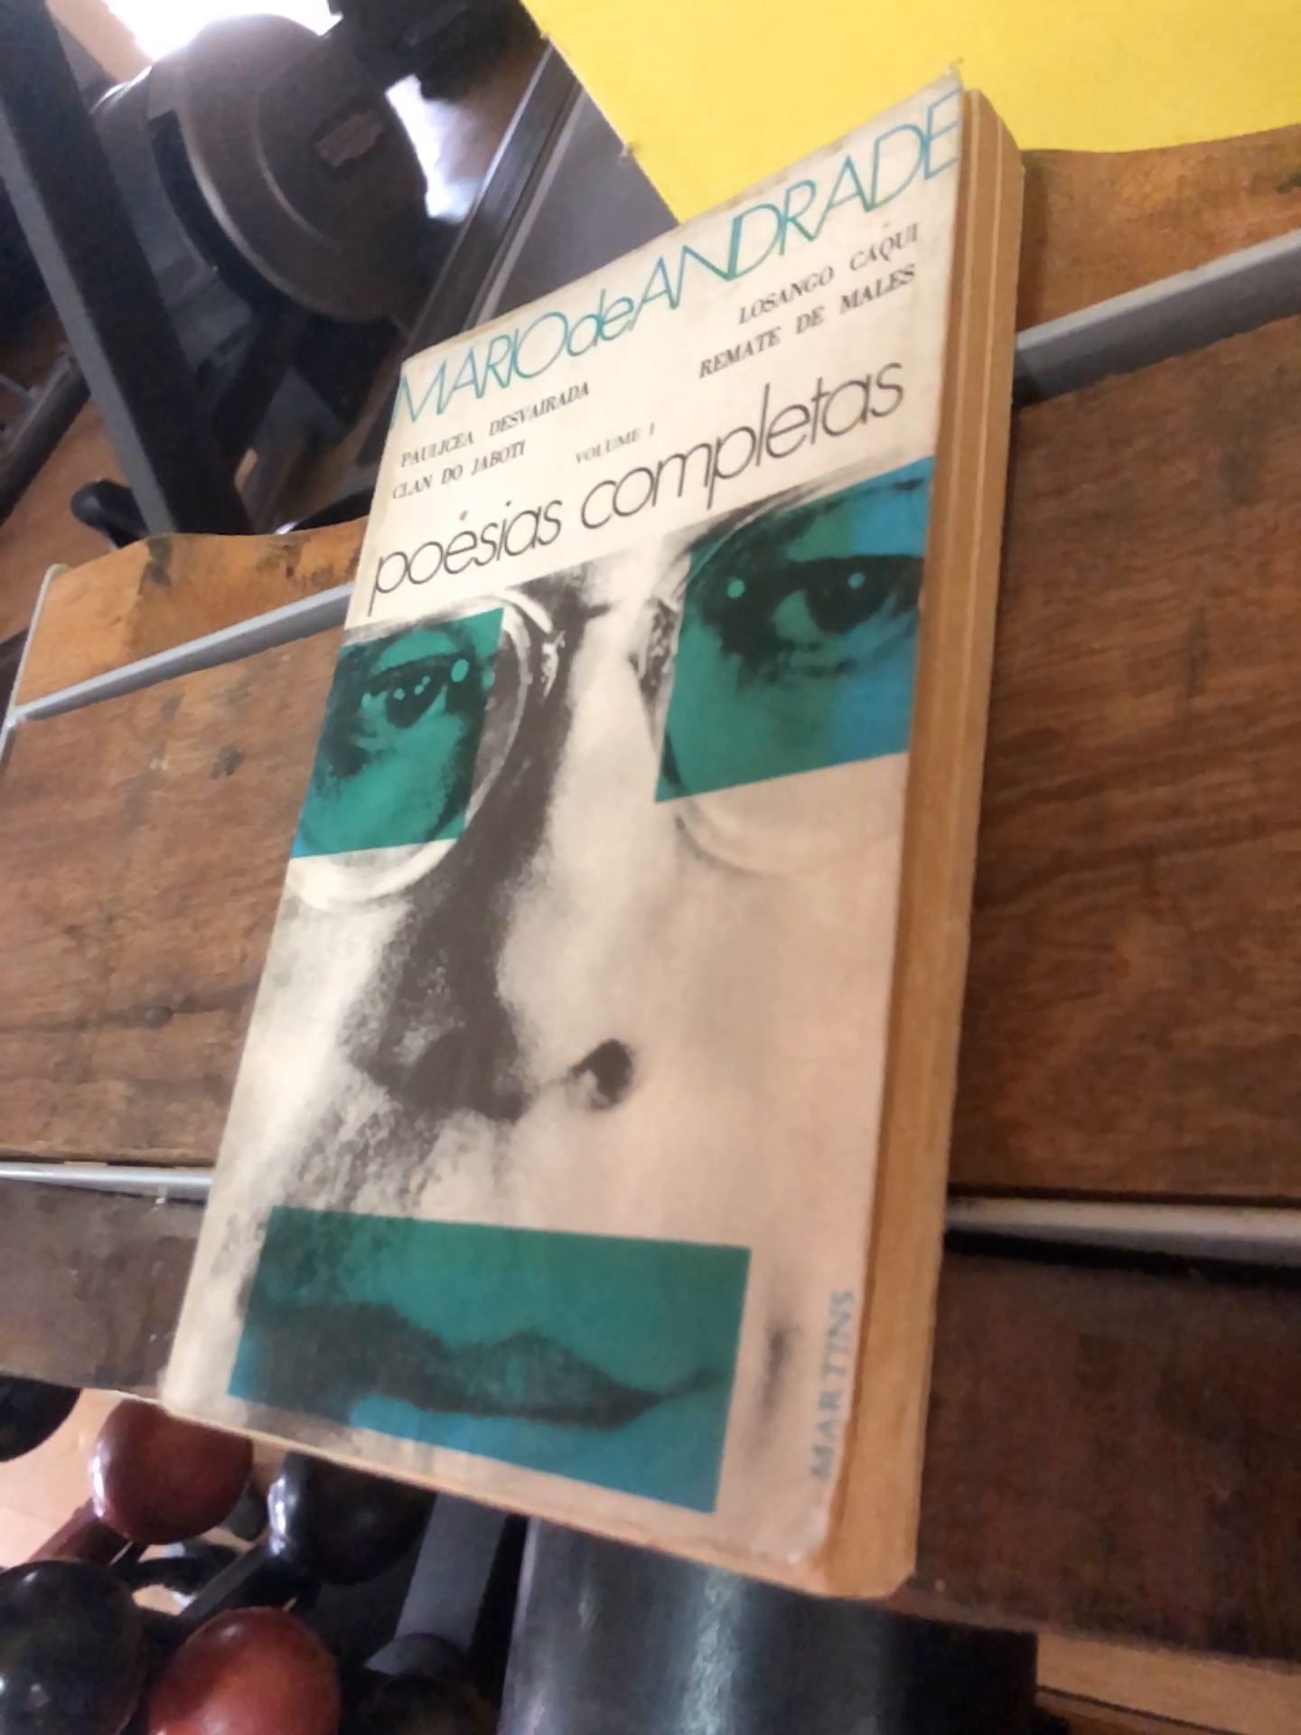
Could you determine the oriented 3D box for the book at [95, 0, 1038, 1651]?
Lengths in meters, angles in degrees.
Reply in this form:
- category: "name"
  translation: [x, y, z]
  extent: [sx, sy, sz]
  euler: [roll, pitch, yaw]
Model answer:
- category: "book"
  translation: [-0.016, -0.014, 0.223]
  extent: [0.141, 0.020, 0.210]
  euler: [-7, 68, 40]
